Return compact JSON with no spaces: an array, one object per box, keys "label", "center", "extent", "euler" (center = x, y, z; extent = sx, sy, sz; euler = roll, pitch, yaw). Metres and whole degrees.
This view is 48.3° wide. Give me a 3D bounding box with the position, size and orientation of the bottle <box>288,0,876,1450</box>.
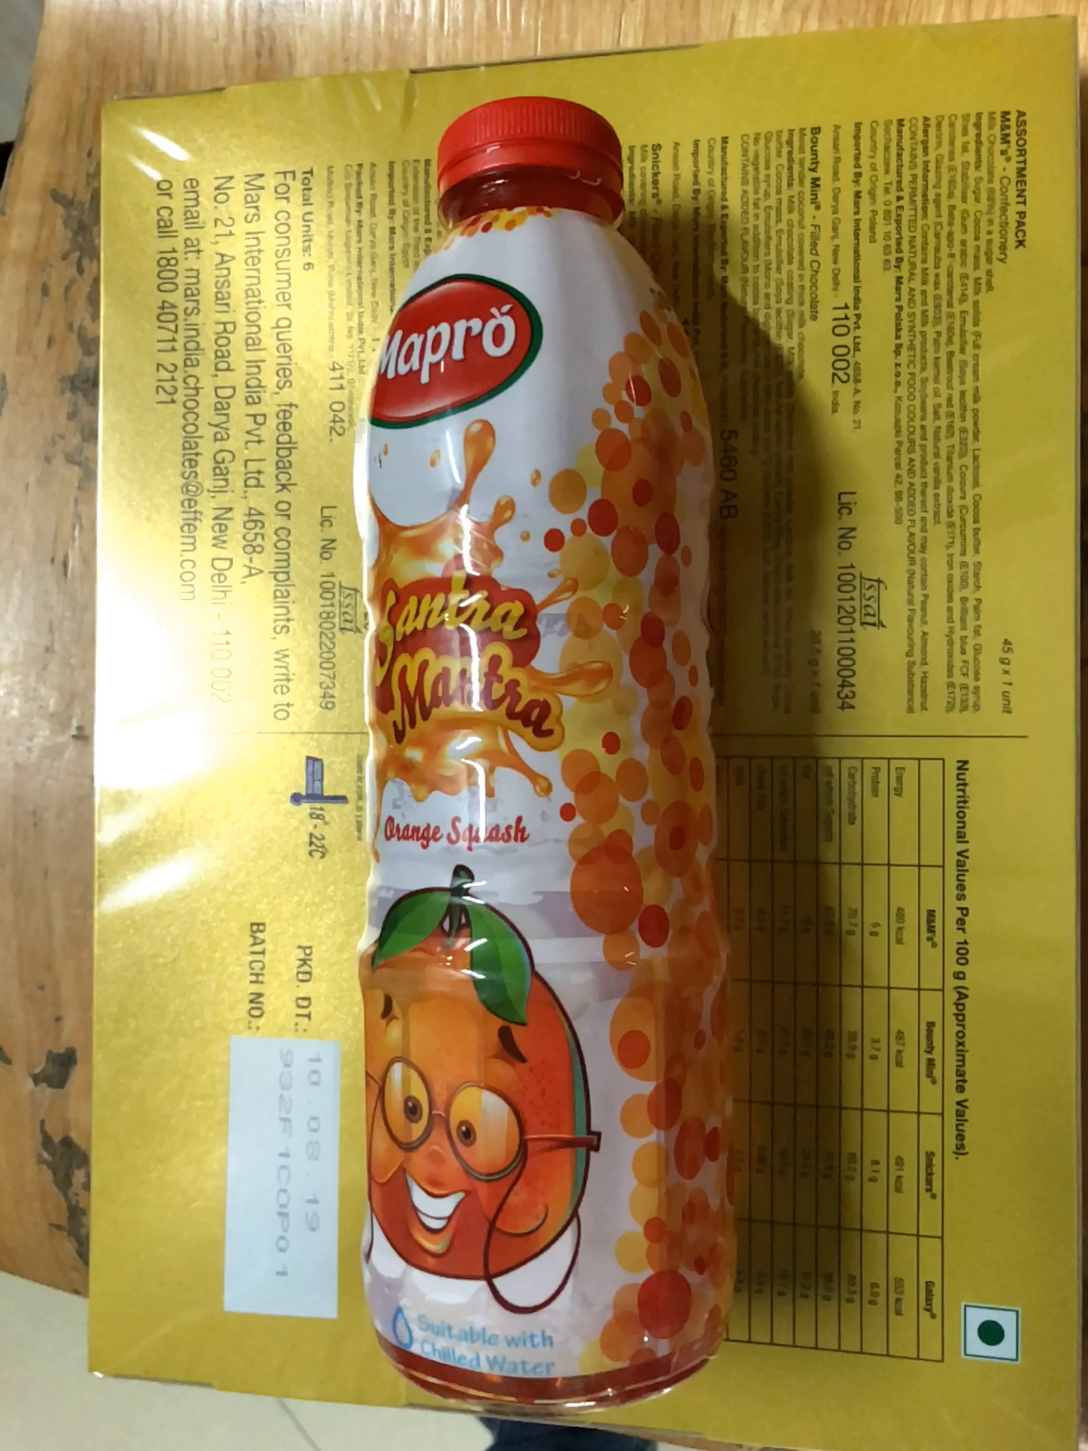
[{"label":"bottle","center":[0.008,-0.009,0.279],"extent":[0.090,0.090,0.300],"euler":[0,92,51]}]
